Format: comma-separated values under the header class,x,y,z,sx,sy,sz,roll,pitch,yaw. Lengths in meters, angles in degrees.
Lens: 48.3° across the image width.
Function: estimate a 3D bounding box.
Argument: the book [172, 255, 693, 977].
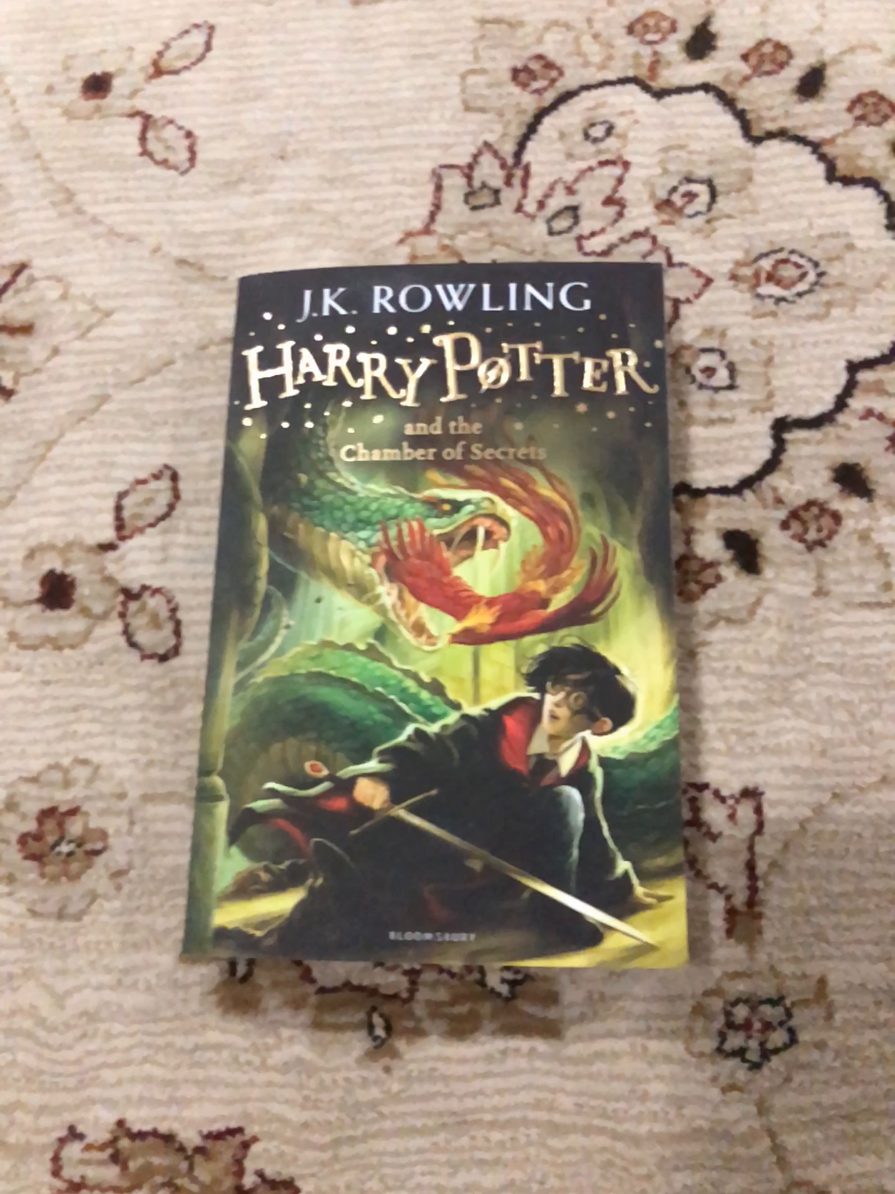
class,x,y,z,sx,sy,sz,roll,pitch,yaw
book,-0.002,0.000,0.290,0.131,0.030,0.200,0,75,6
